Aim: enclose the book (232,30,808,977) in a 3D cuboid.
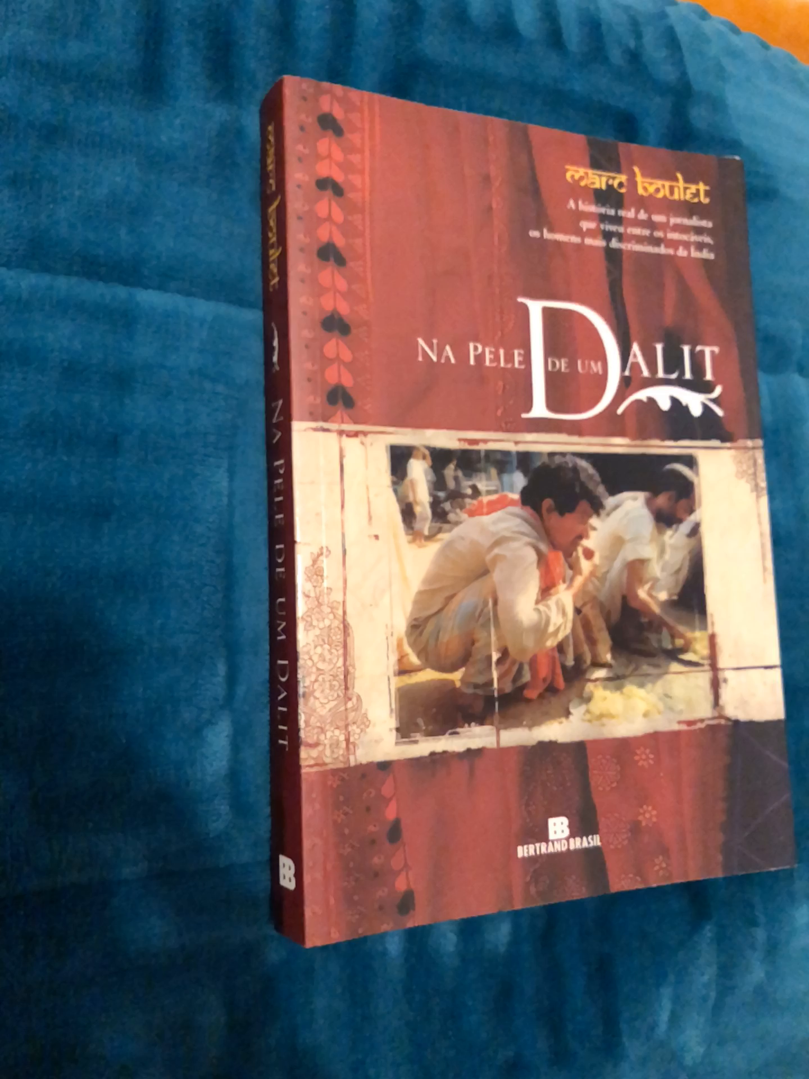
[{"bbox_3d":[0.037,-0.012,0.250,0.160,0.030,0.220,-1,86,-20],"label":"book"}]
